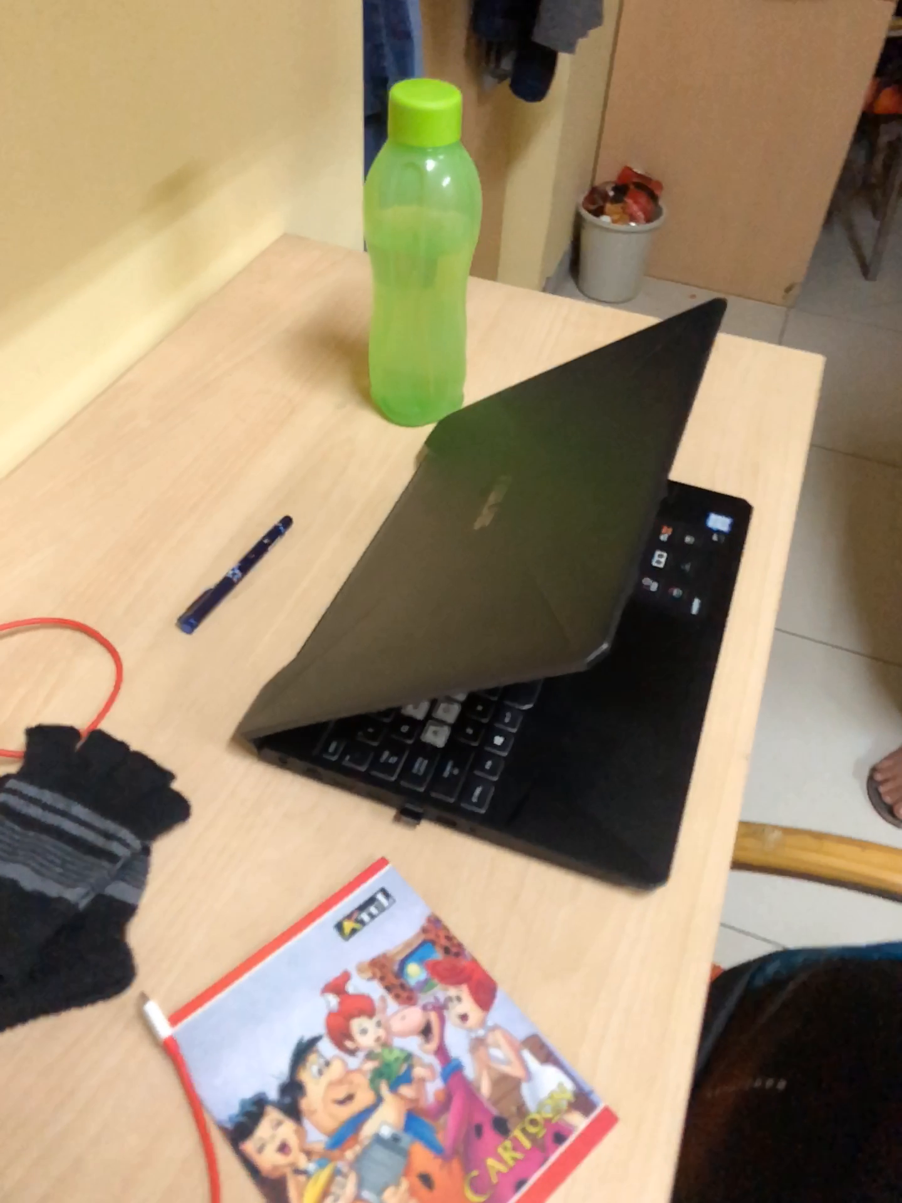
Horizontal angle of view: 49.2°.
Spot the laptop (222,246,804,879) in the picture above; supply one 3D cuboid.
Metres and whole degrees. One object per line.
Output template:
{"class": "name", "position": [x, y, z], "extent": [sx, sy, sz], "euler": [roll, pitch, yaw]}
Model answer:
{"class": "laptop", "position": [0.059, -0.050, 0.622], "extent": [0.248, 0.147, 0.341], "euler": [18, 48, 10]}
